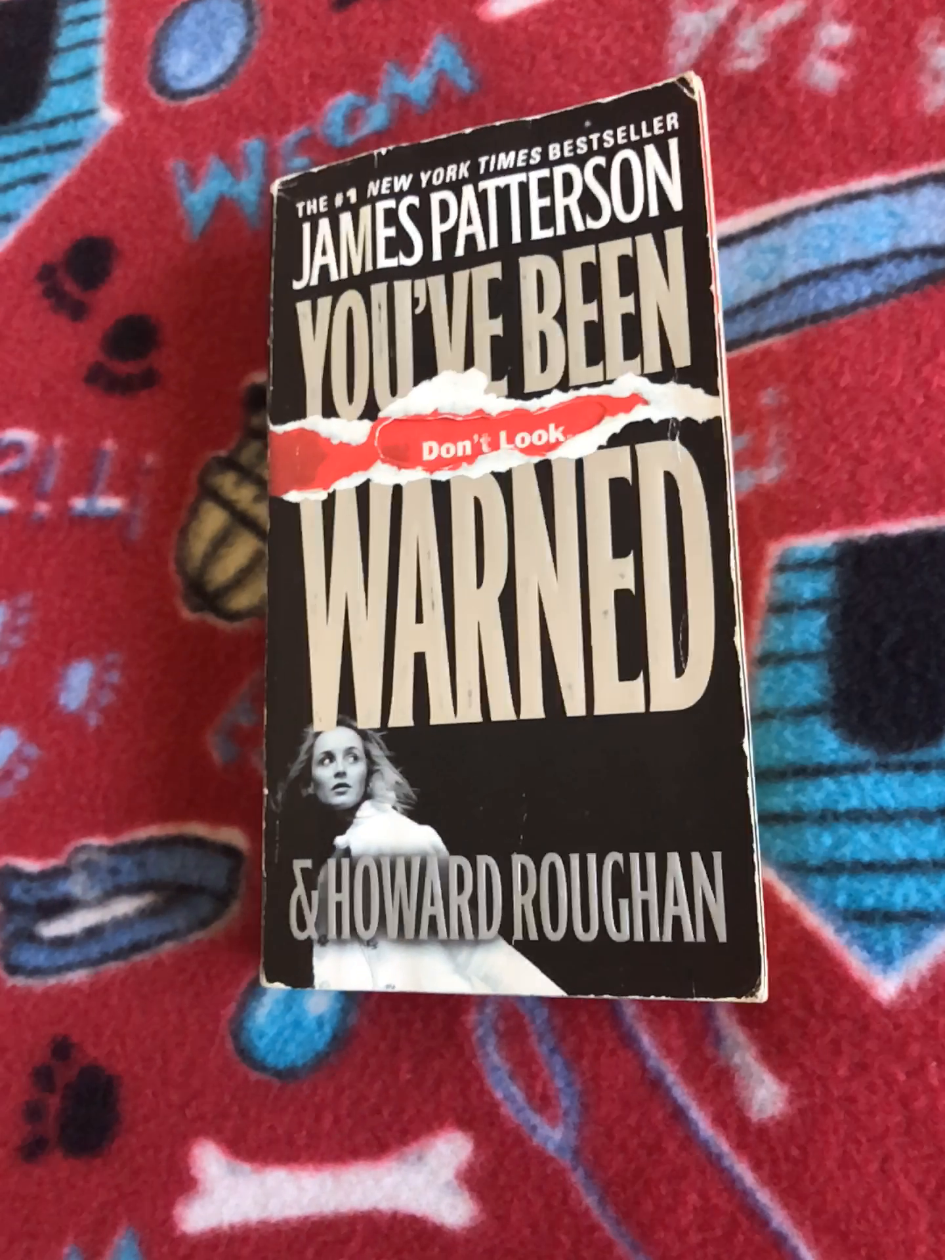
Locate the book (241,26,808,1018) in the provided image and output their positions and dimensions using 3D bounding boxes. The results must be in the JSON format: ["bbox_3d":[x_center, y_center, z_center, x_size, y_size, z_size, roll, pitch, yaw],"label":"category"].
[{"bbox_3d":[0.009,-0.020,0.233,0.110,0.040,0.190,-4,83,17],"label":"book"}]
